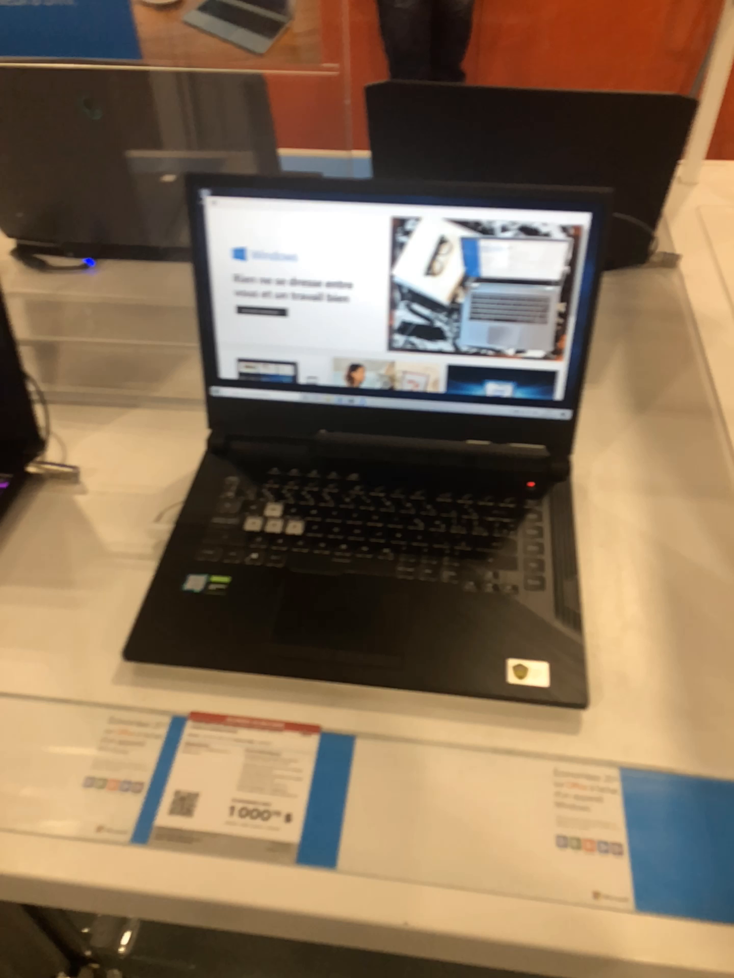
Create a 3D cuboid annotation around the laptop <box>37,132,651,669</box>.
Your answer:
[{"bbox_3d":[0.006,-0.088,0.655,0.363,0.236,0.346,4,49,6],"label":"laptop"}]
